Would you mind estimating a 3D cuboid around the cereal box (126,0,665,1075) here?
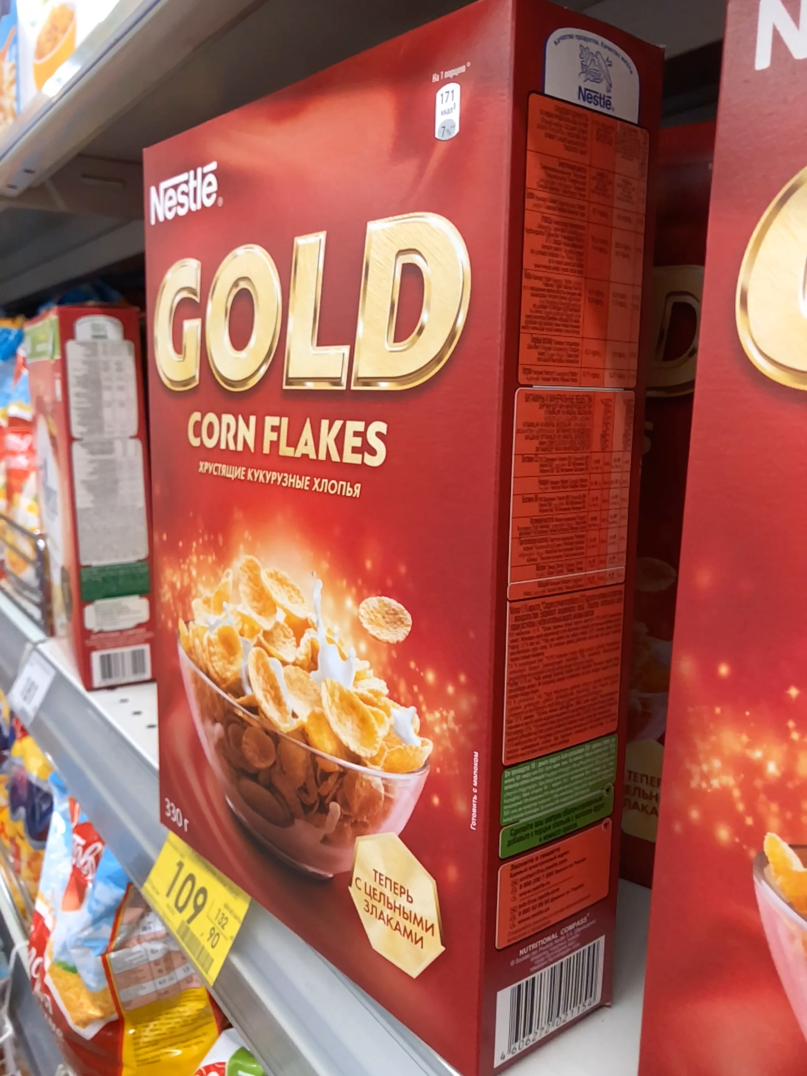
[{"bbox_3d":[-0.021,-0.006,0.307,0.060,0.279,0.200,-6,11,-39],"label":"cereal box"}]
